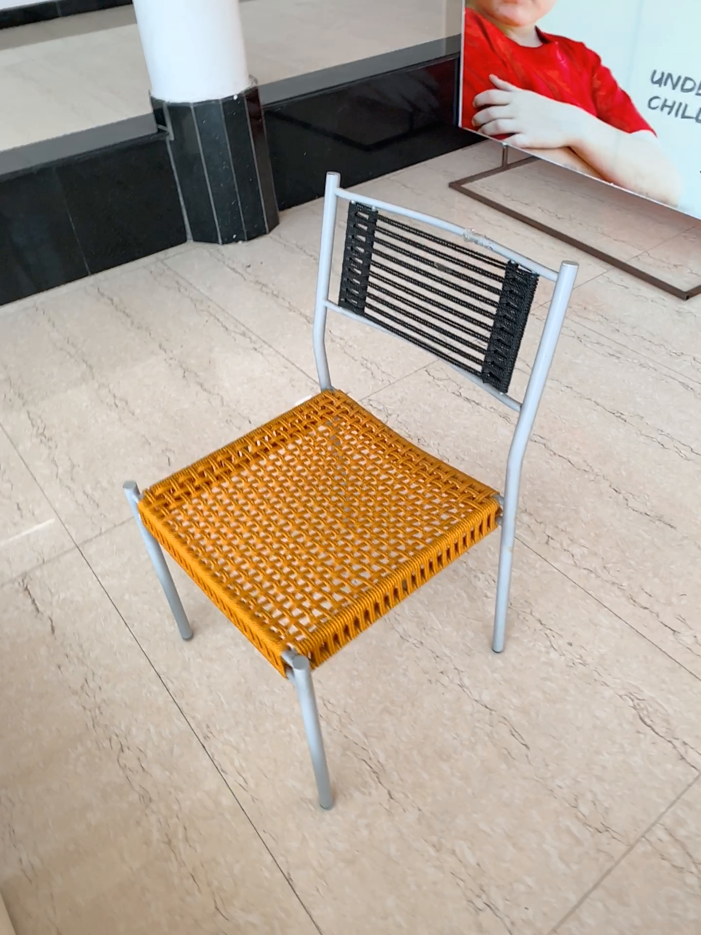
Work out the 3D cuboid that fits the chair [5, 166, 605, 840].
[{"bbox_3d":[-0.050,0.043,1.119,0.521,0.744,0.533,-31,48,-26],"label":"chair"}]
